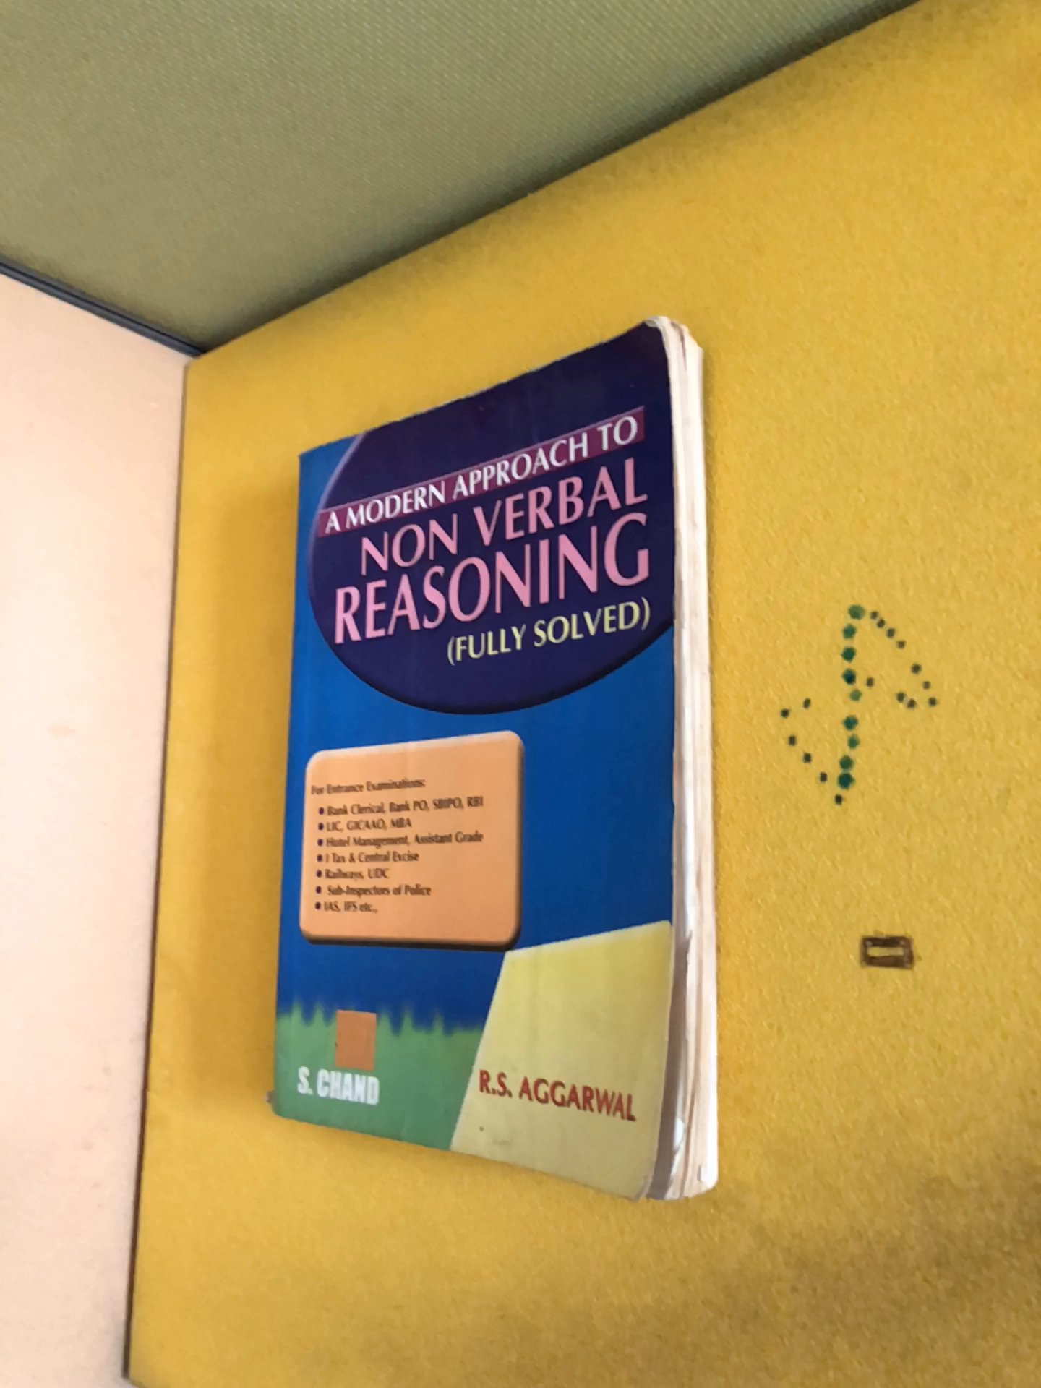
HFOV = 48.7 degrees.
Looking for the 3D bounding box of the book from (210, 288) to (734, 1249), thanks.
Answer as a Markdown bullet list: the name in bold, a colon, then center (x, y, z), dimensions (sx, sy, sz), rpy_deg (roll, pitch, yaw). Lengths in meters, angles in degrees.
- **book**: center (-0.022, 0.021, 0.355), dimensions (0.171, 0.040, 0.240), rpy_deg (-8, 76, 40)
